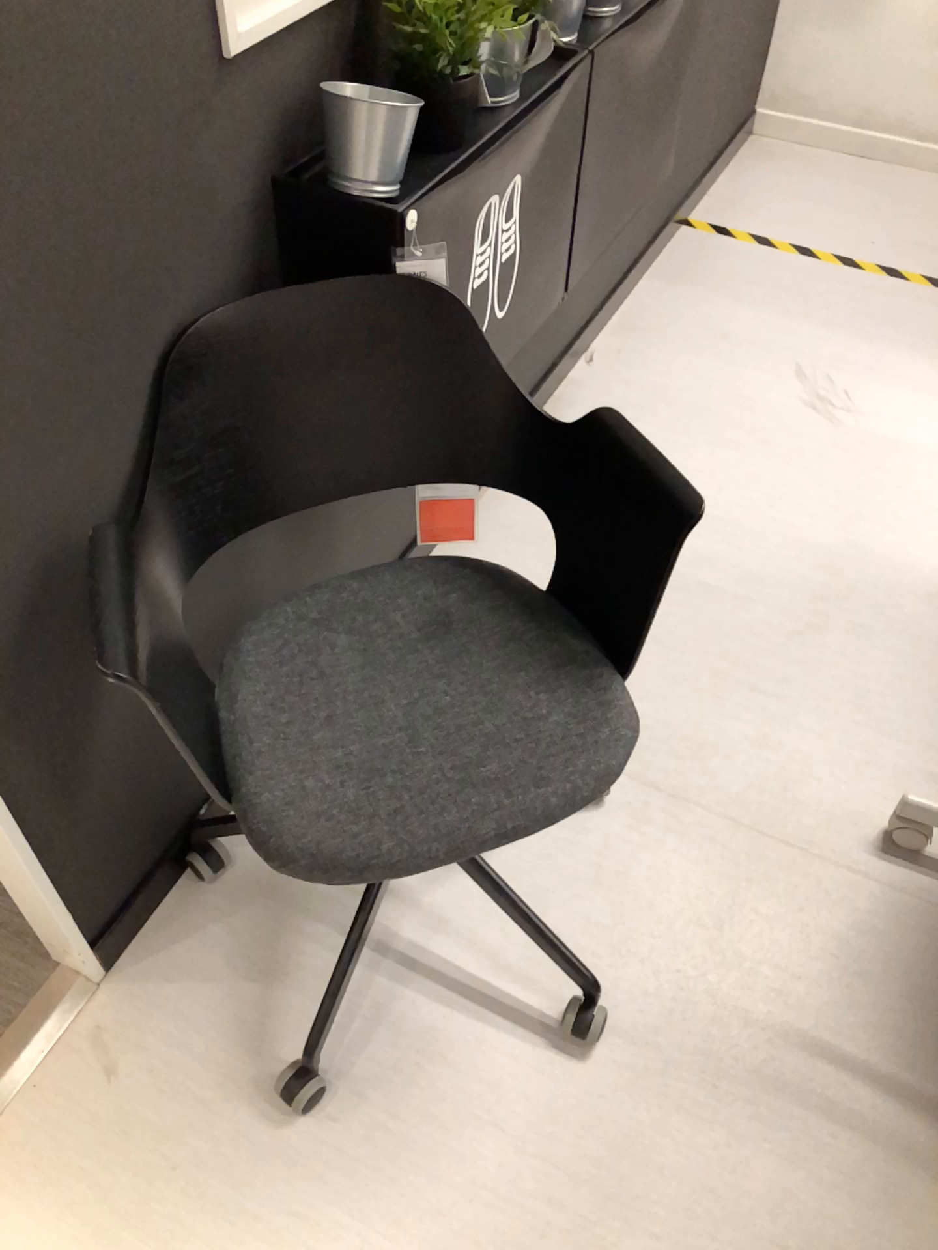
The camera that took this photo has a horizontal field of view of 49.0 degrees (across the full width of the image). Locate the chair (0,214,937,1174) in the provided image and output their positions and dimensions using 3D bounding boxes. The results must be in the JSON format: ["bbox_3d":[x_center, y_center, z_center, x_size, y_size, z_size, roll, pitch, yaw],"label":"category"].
[{"bbox_3d":[-0.050,0.093,1.106,0.660,0.755,0.563,-11,50,-11],"label":"chair"}]
